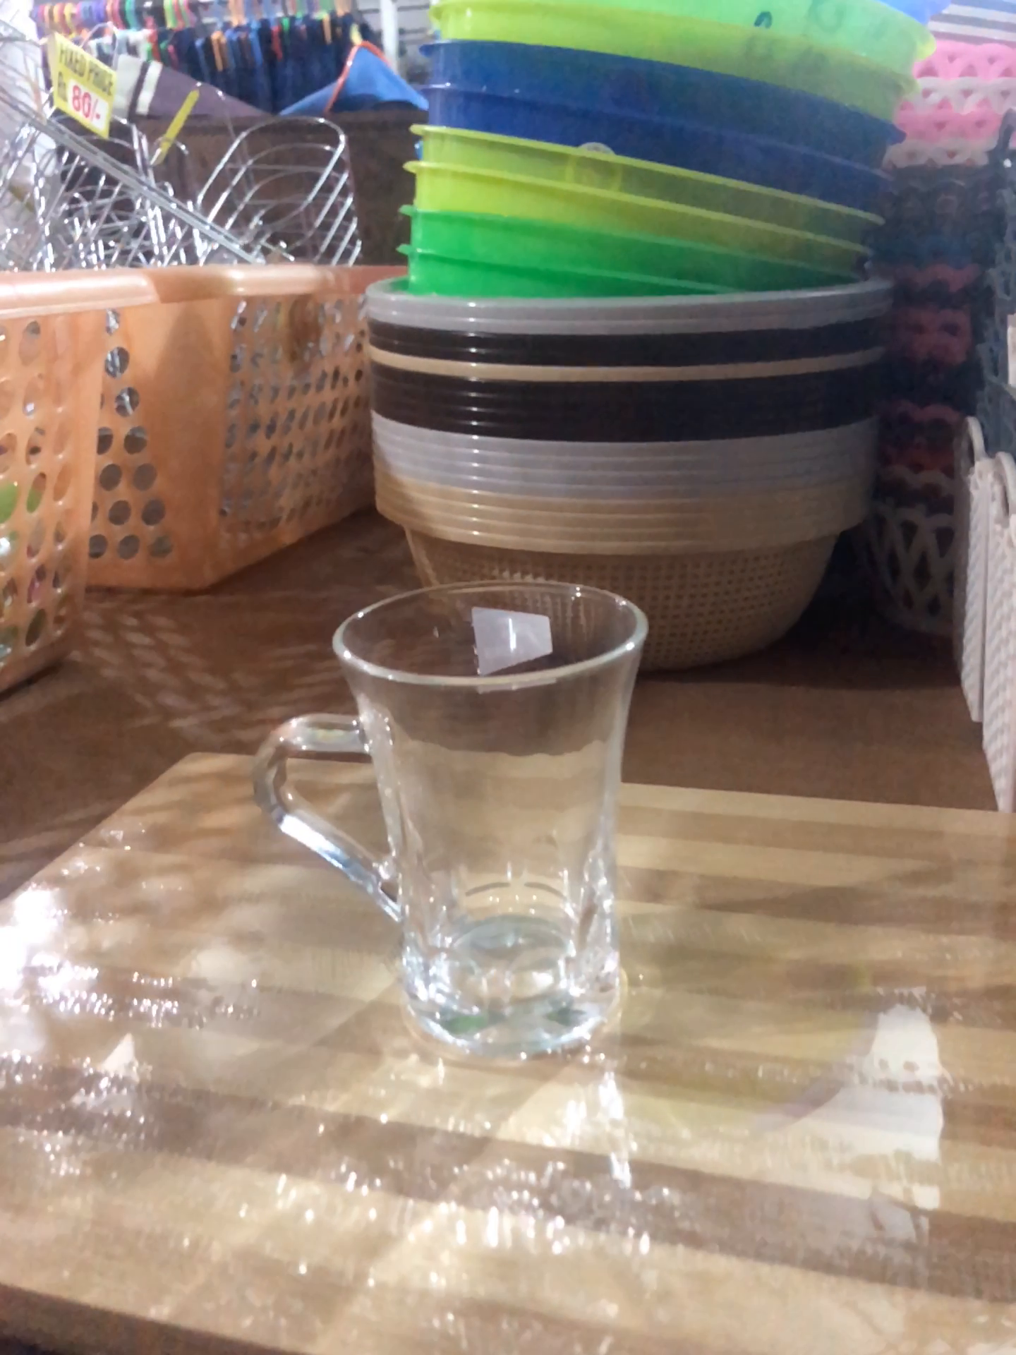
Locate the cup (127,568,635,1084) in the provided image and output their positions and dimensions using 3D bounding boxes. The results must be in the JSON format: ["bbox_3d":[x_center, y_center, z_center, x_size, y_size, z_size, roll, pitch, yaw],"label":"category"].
[{"bbox_3d":[-0.019,0.028,0.243,0.090,0.090,0.060,0,21,9],"label":"cup"}]
